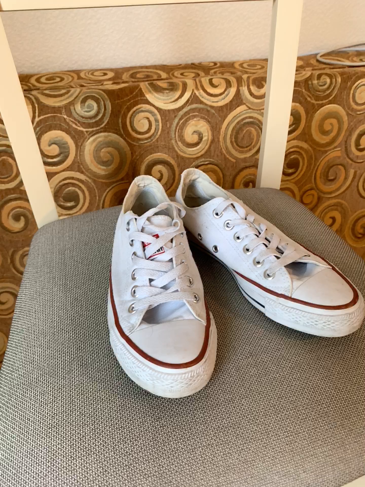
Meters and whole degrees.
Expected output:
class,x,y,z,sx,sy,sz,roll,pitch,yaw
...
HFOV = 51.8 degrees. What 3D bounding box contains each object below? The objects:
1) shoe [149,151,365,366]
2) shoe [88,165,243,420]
class,x,y,z,sx,sy,sz,roll,pitch,yaw
shoe,0.072,-0.002,0.363,0.090,0.060,0.221,-31,53,-28
shoe,-0.029,0.022,0.331,0.090,0.060,0.221,-8,46,-9
